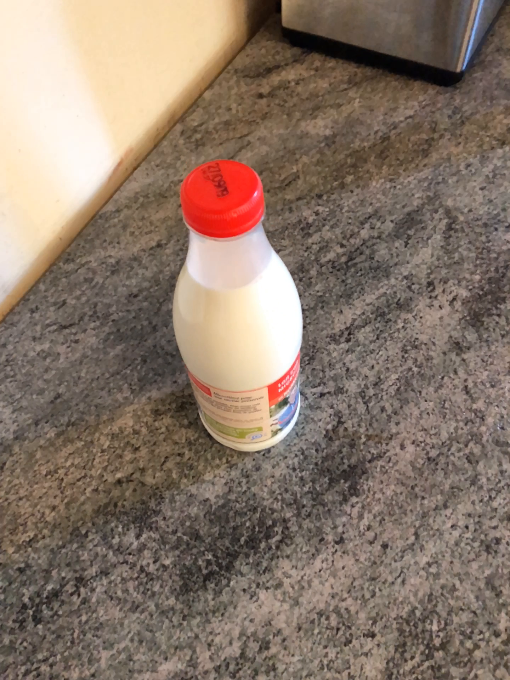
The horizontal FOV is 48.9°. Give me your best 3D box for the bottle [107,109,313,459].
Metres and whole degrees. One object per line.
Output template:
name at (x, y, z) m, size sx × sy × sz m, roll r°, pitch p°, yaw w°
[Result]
bottle at (-0.010, -0.014, 0.376) m, size 0.080 × 0.249 × 0.090 m, roll 8°, pitch 59°, yaw 10°
